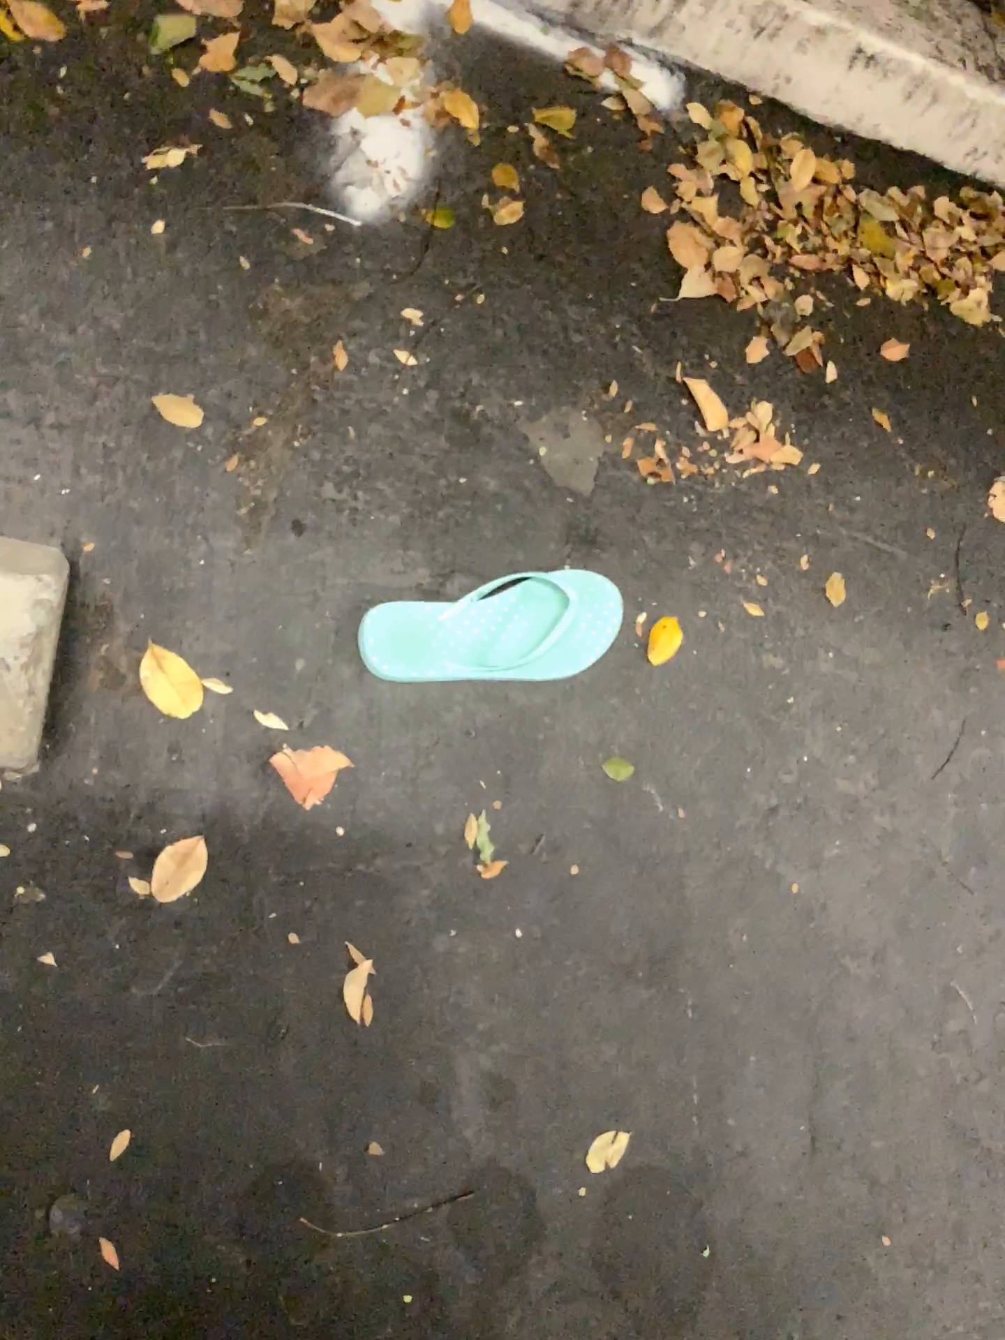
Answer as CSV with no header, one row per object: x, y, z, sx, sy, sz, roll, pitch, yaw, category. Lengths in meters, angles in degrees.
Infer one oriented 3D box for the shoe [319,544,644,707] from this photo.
-0.015,-0.044,1.010,0.280,0.050,0.120,-6,75,-25,shoe
